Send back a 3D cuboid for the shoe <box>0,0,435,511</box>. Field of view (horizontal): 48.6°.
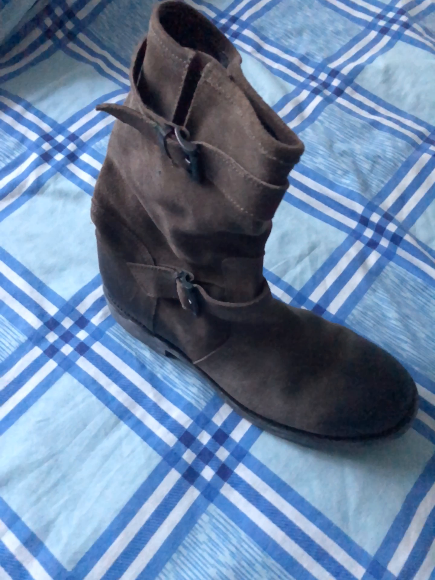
[{"bbox_3d":[0.042,-0.002,0.364,0.320,0.289,0.130,29,63,14],"label":"shoe"}]
